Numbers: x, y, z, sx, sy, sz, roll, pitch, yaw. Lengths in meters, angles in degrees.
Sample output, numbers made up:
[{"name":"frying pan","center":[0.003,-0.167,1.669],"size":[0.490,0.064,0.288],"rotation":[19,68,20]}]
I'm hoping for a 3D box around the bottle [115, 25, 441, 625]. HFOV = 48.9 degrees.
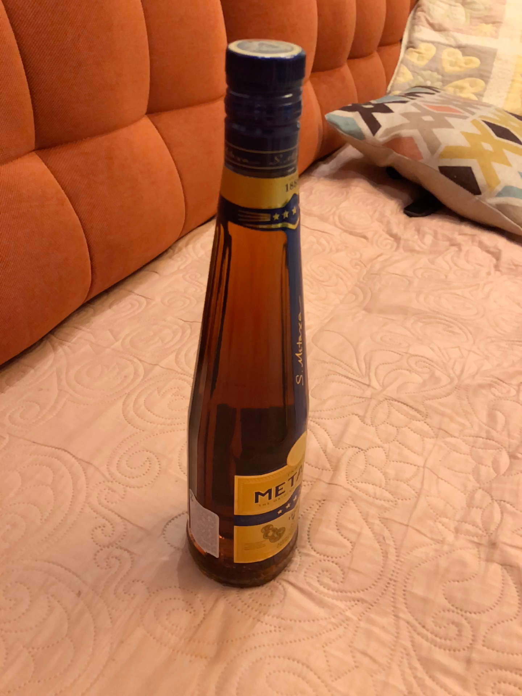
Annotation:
[{"name":"bottle","center":[-0.001,0.003,0.319],"size":[0.090,0.308,0.101],"rotation":[28,40,30]}]
